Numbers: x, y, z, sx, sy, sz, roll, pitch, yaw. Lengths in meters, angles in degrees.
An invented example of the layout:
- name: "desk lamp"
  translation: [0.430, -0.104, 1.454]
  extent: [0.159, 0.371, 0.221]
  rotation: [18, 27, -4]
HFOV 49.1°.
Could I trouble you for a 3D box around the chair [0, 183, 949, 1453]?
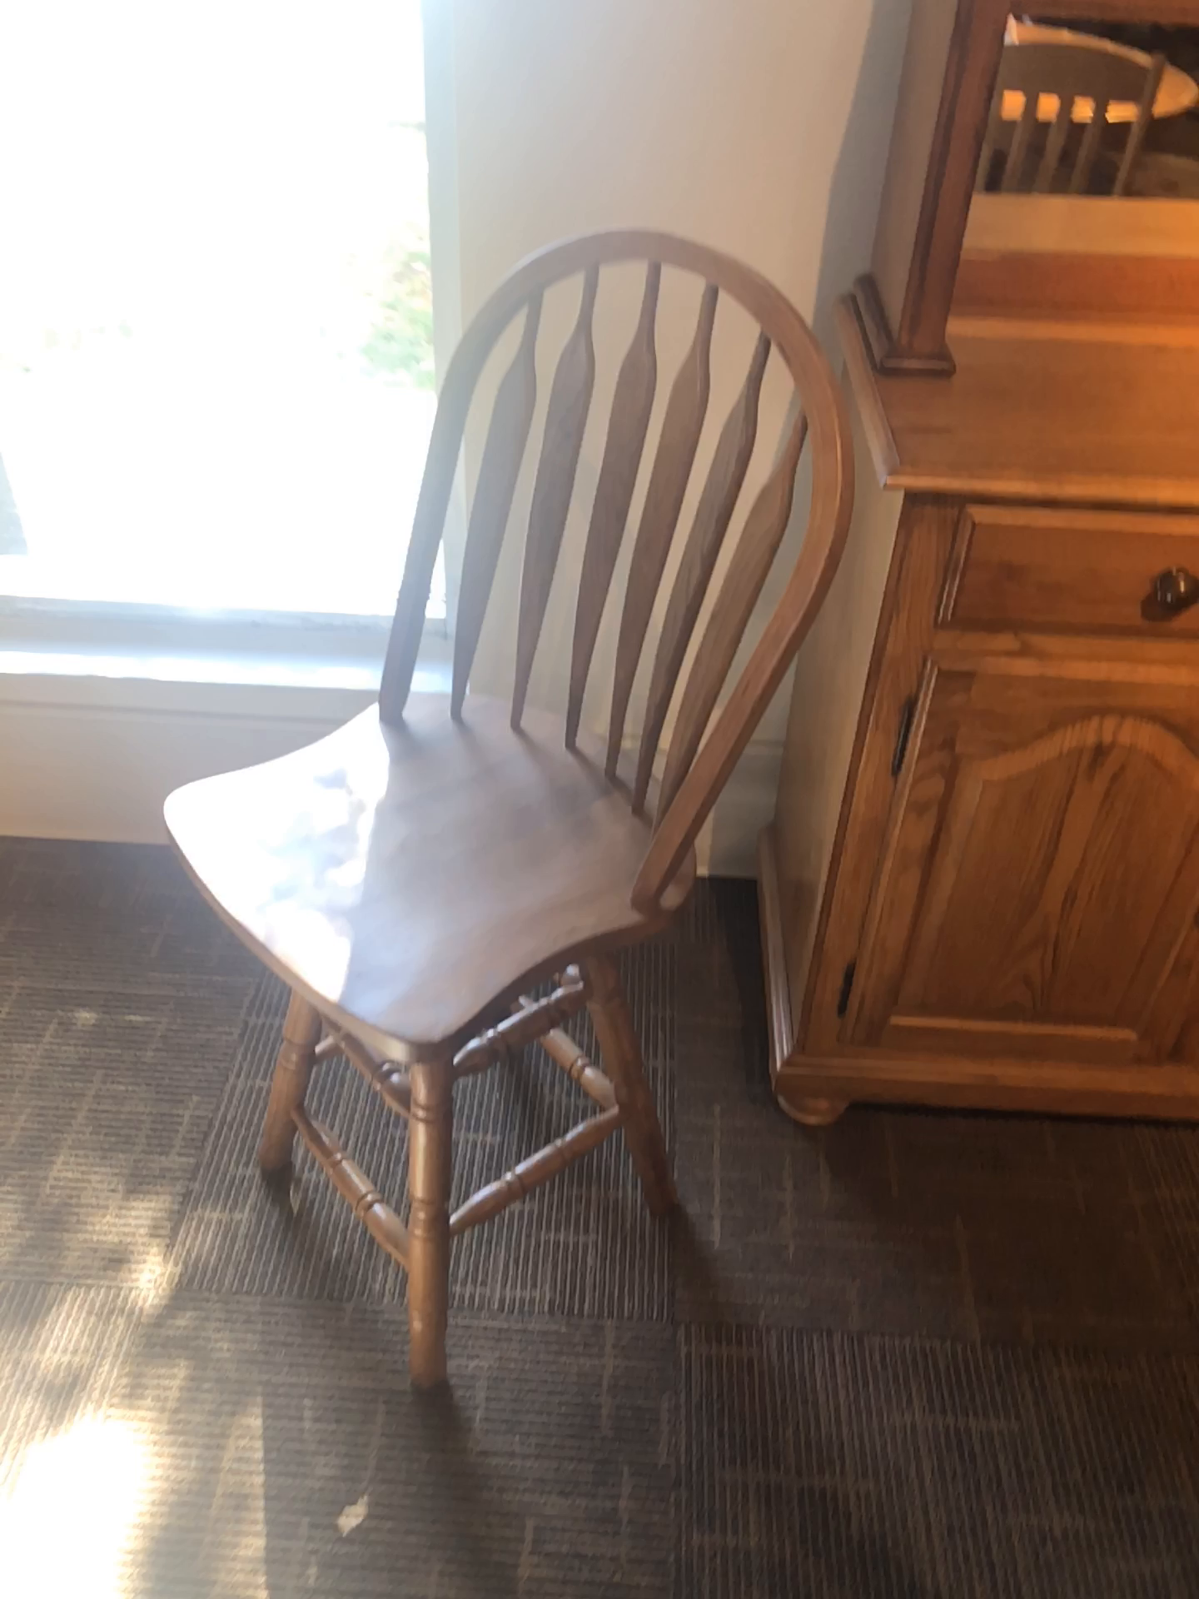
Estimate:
- name: "chair"
  translation: [-0.119, 0.034, 1.291]
  extent: [0.541, 1.024, 0.481]
  rotation: [-27, 47, -32]
